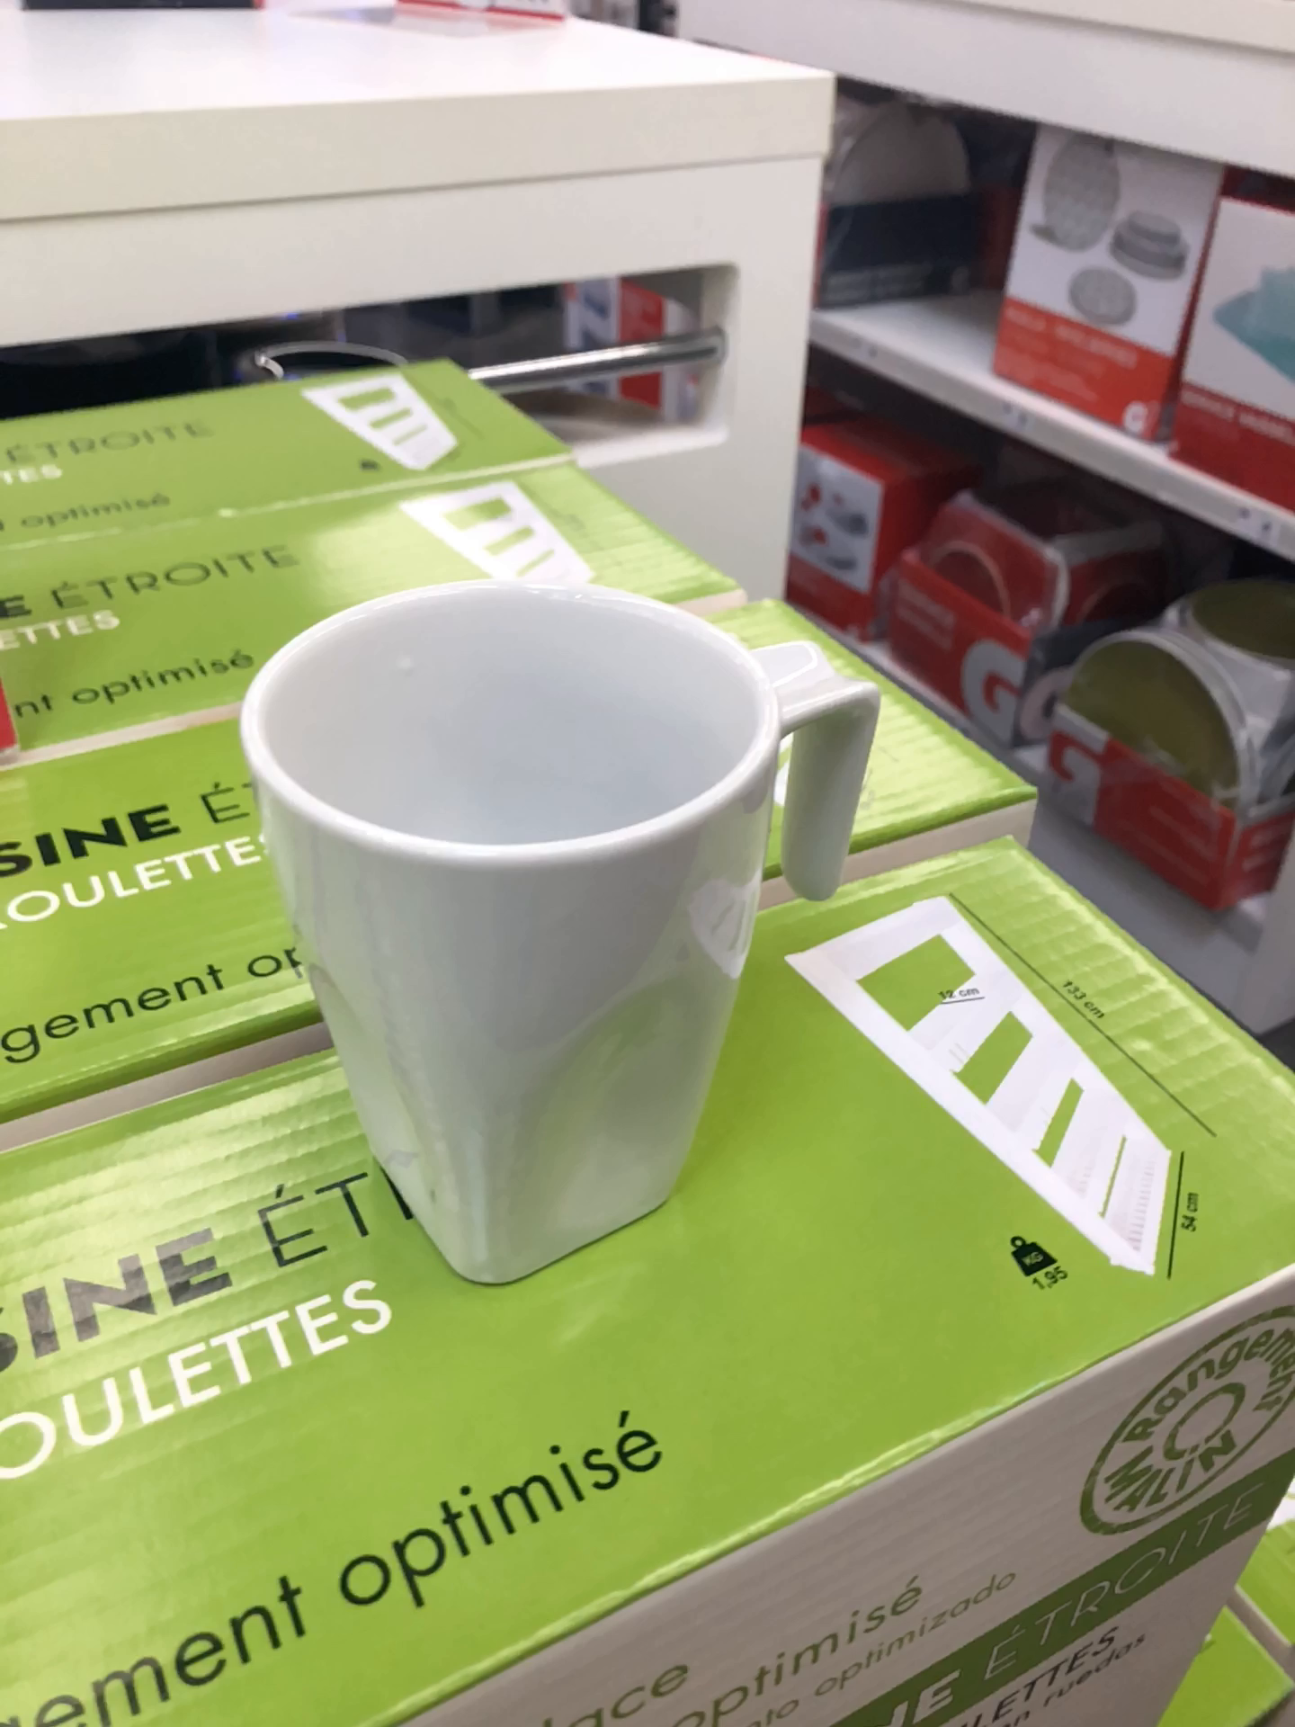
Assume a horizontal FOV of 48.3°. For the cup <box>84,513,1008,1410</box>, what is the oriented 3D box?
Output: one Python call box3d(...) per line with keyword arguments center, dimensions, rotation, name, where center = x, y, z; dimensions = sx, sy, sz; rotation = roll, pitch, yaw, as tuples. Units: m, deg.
box3d(center=(-0.017, 0.007, 0.240), dimensions=(0.112, 0.087, 0.083), rotation=(-19, 40, -28), name="cup")
